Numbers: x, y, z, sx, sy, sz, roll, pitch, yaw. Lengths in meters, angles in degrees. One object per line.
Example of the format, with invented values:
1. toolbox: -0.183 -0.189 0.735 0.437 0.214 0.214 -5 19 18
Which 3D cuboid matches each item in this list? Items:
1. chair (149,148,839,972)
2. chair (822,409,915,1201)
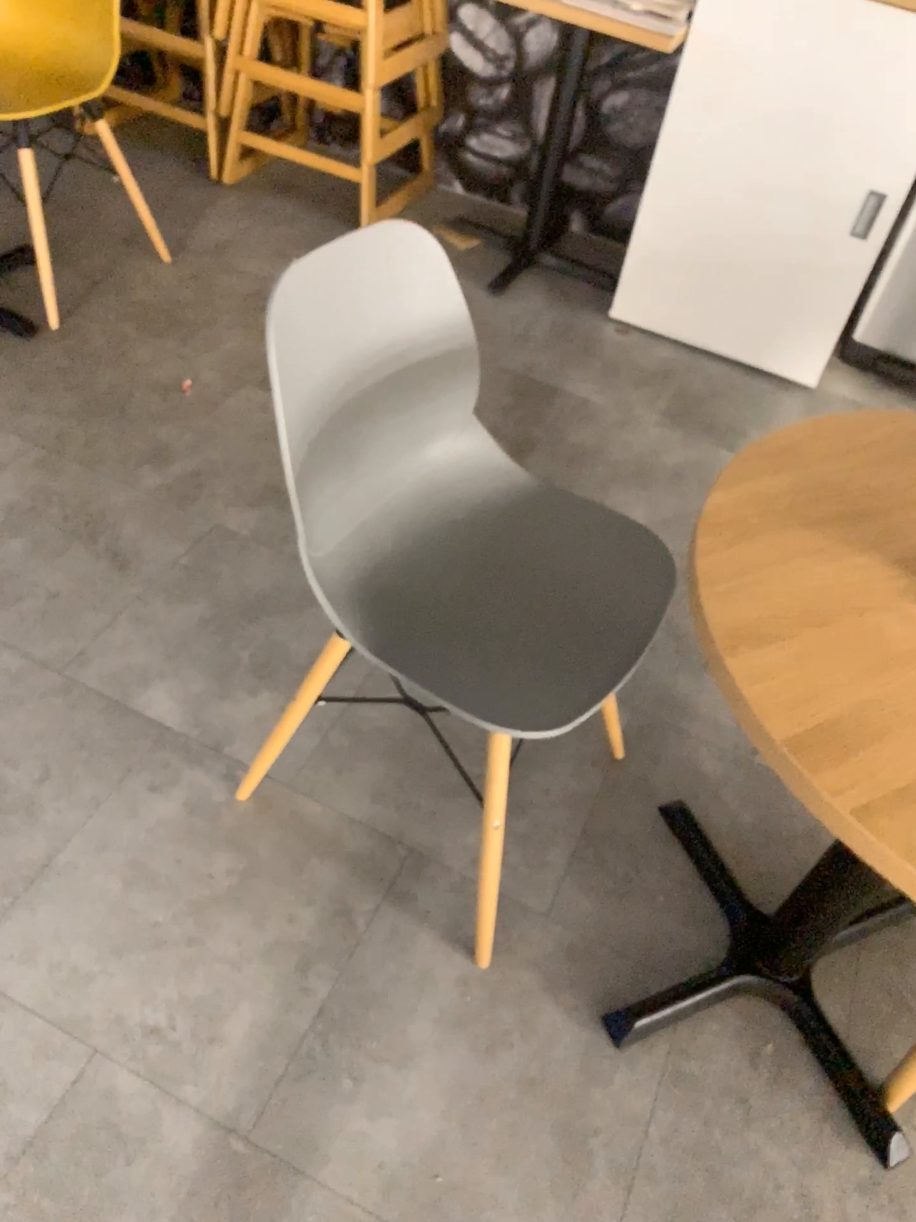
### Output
1. chair: 0.011 -0.049 1.243 0.521 0.803 0.508 30 48 18
2. chair: 0.889 0.270 1.186 0.510 0.753 0.560 13 45 2
